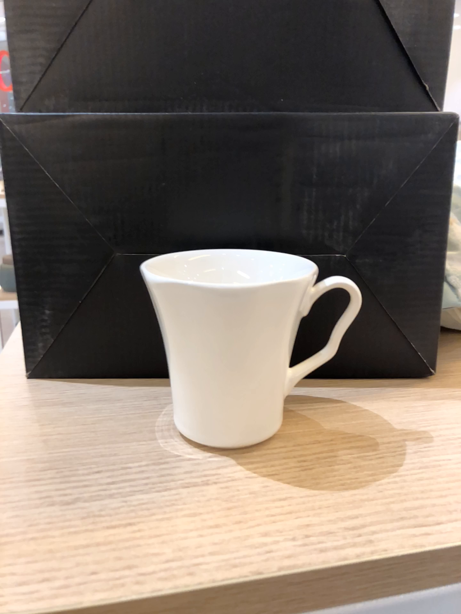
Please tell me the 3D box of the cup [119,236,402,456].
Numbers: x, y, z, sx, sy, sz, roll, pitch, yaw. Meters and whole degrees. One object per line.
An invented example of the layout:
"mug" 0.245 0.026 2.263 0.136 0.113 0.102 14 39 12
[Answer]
"cup" 0.010 0.012 0.247 0.110 0.080 0.080 -1 16 -4
